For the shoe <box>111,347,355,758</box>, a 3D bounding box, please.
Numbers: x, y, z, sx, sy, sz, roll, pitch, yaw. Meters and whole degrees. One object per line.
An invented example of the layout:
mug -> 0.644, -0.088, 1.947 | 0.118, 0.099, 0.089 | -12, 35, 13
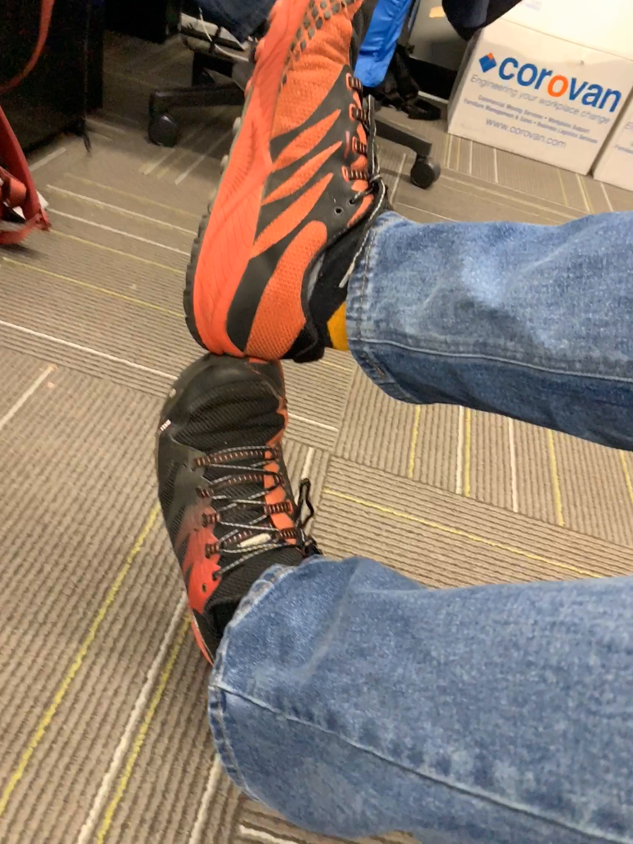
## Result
shoe -> -0.079, 0.096, 0.559 | 0.129, 0.135, 0.289 | -8, 87, -28

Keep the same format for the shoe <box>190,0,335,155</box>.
shoe -> -0.148, -0.907, 1.715 | 0.164, 0.355, 0.156 | 41, 52, -23

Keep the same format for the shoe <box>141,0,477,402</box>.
shoe -> -0.012, -0.189, 0.513 | 0.142, 0.304, 0.118 | 19, 7, -7
